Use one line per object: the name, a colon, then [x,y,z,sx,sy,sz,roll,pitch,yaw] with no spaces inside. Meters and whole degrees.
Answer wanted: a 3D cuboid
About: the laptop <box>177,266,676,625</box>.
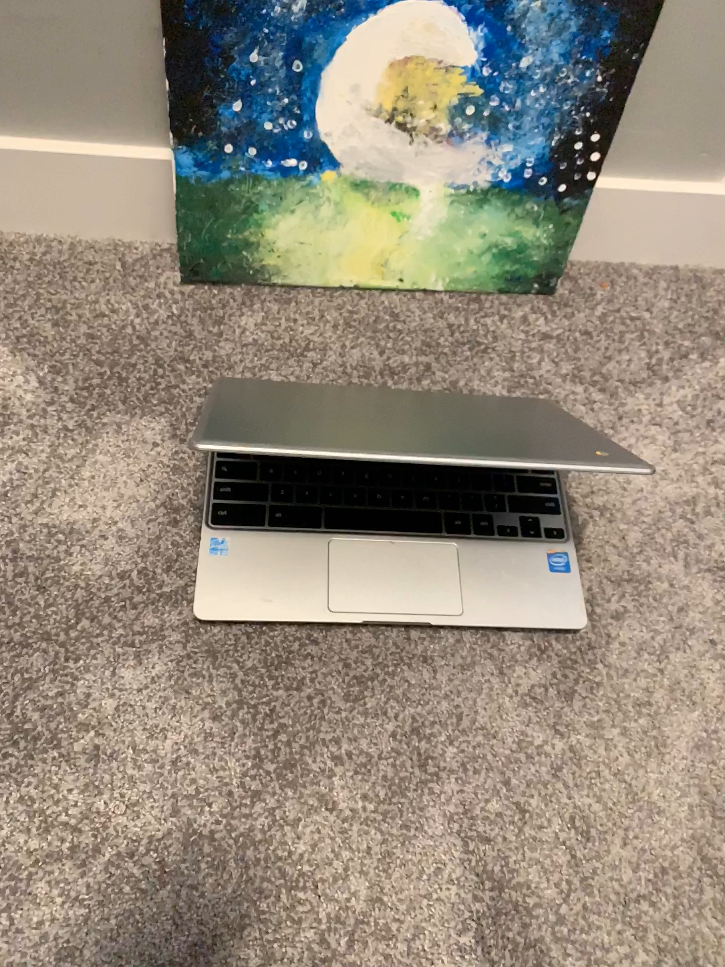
laptop: [0.032,-0.019,0.539,0.294,0.144,0.200,3,62,-8]
